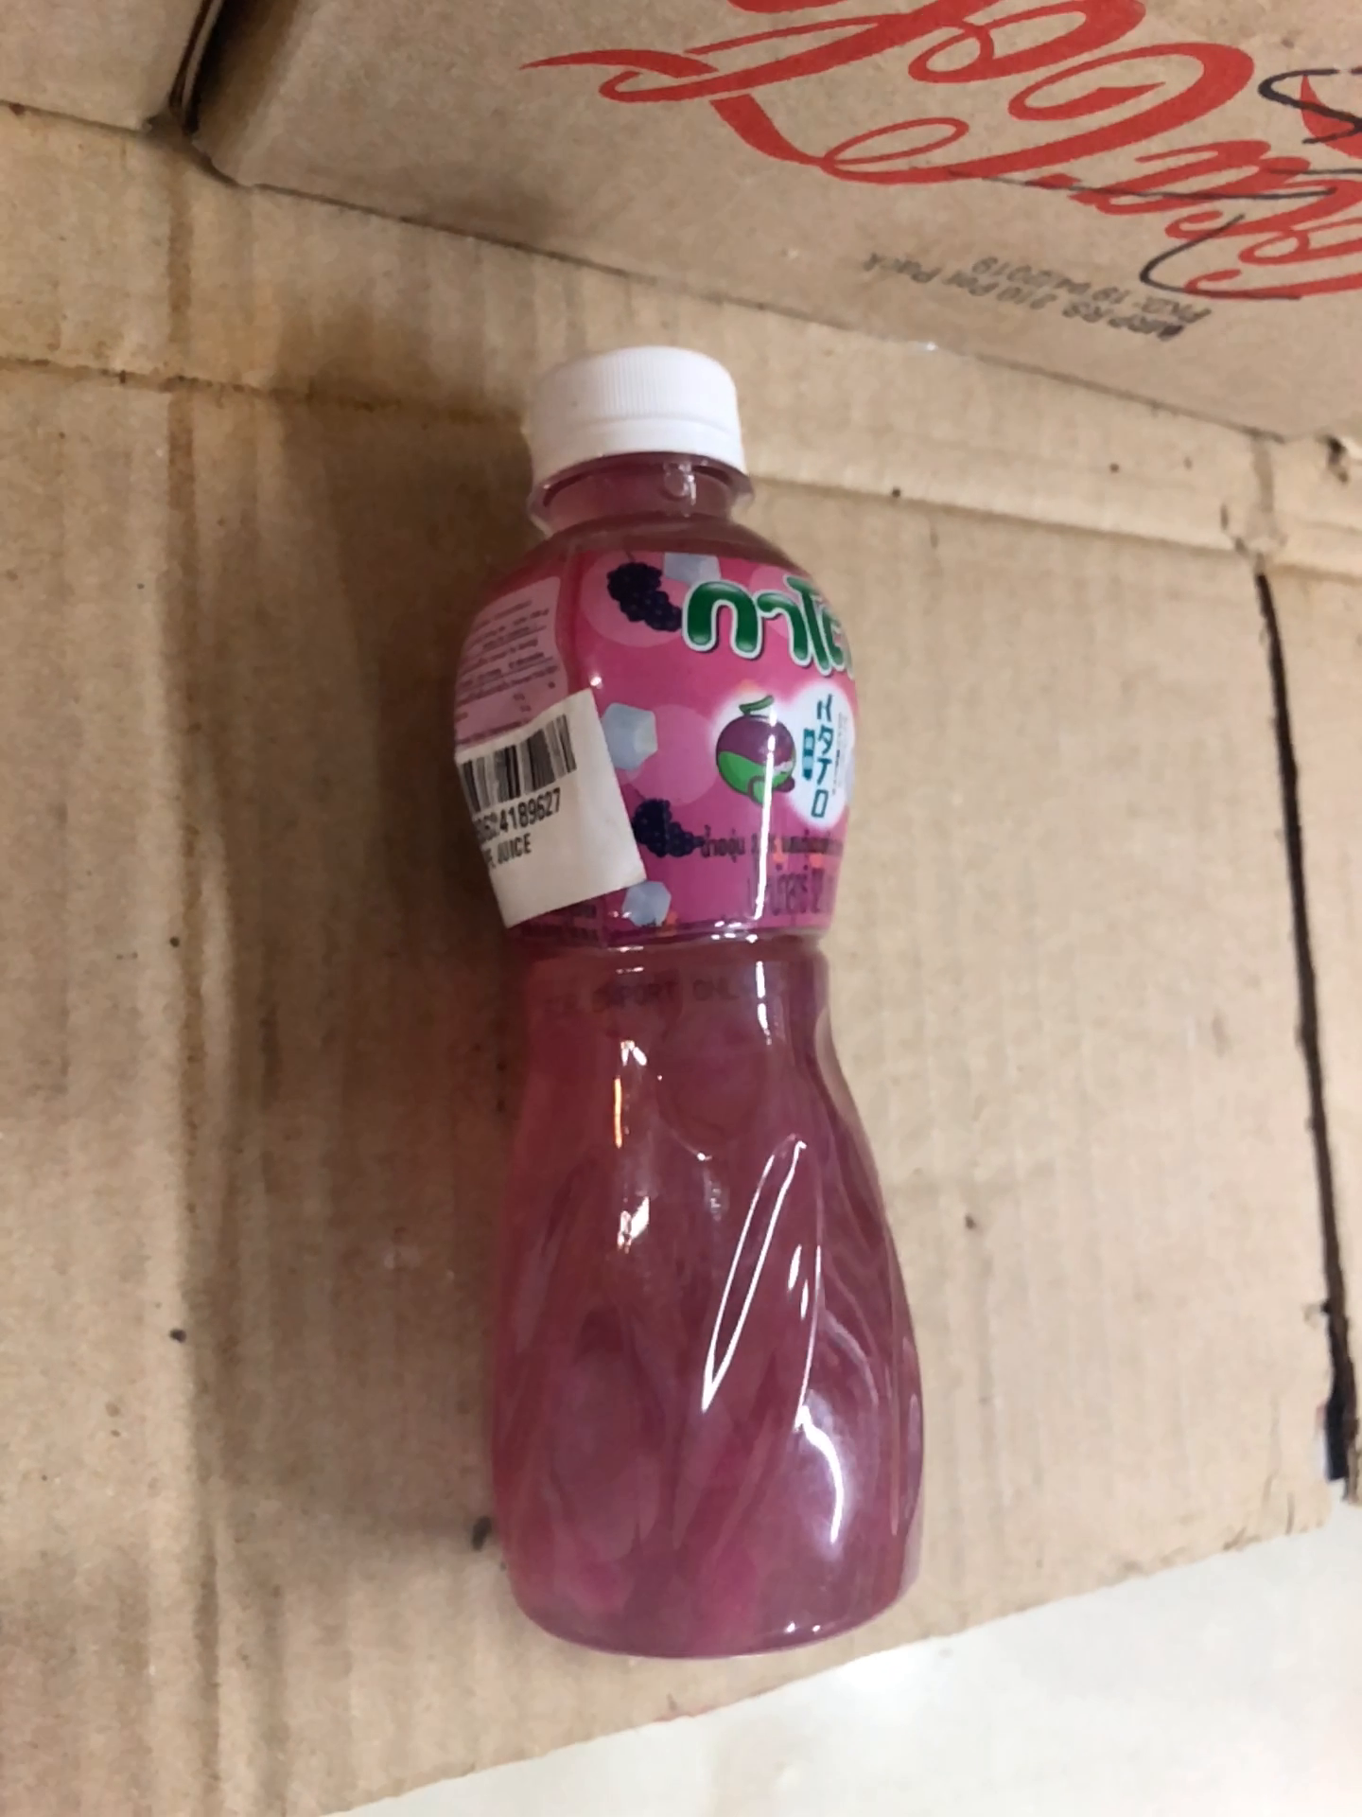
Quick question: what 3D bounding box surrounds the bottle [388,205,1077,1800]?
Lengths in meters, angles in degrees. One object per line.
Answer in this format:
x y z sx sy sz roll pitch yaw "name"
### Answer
0.005 0.009 0.201 0.060 0.050 0.170 0 83 -37 "bottle"
